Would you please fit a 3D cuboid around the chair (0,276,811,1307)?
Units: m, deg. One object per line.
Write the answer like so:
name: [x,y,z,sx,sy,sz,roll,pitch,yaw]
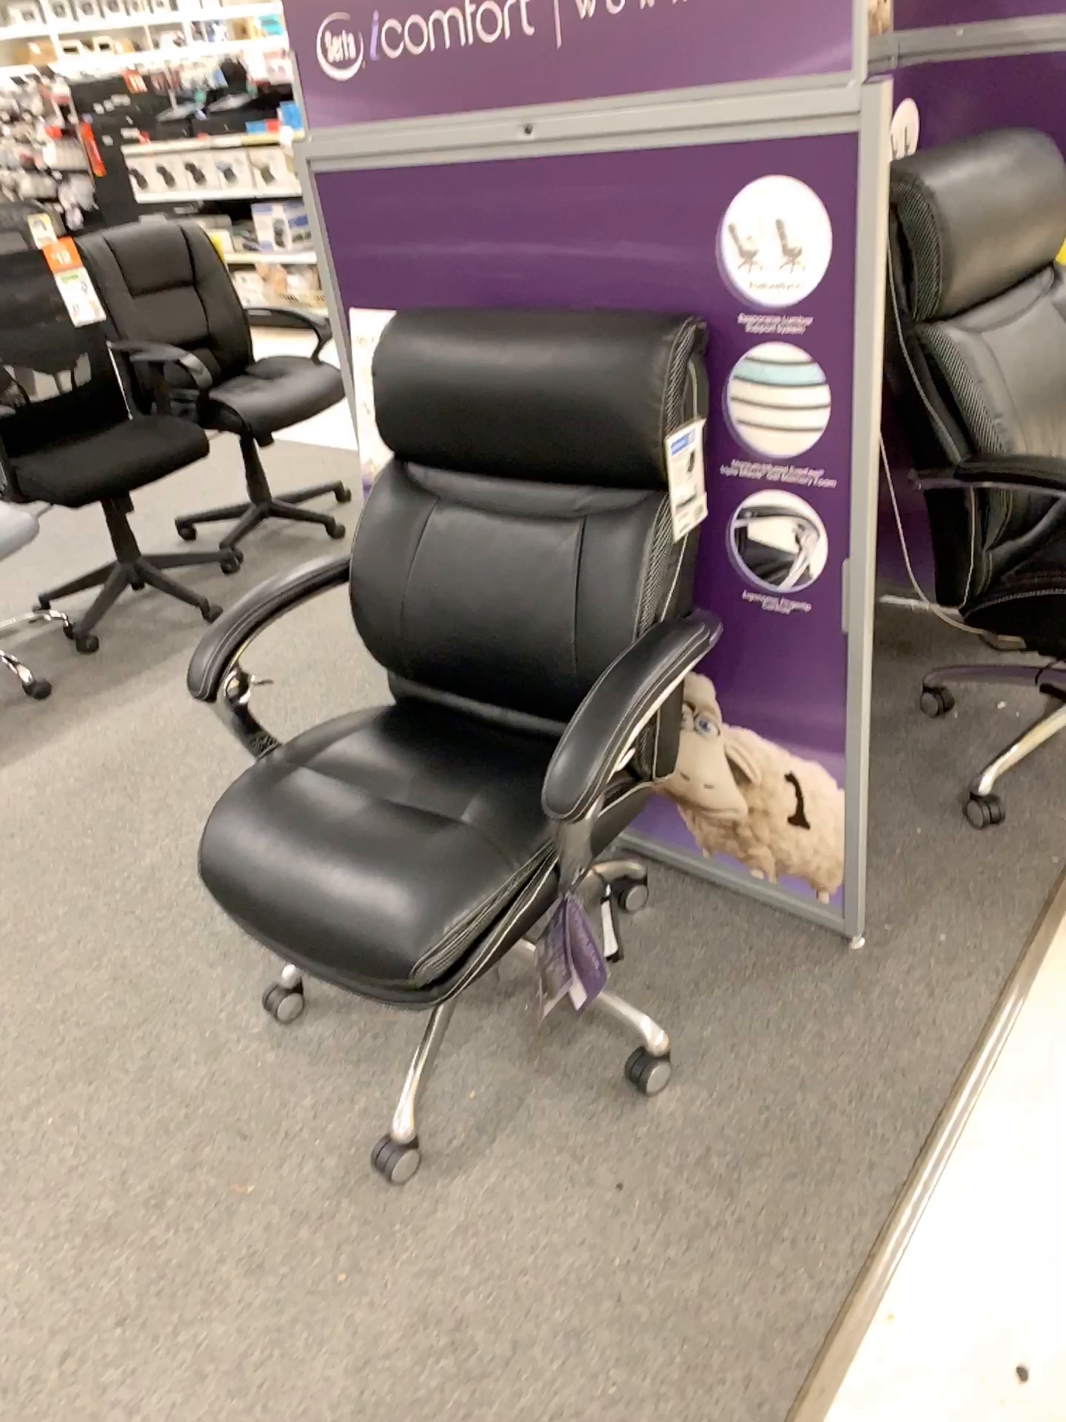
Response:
chair: [-0.157,0.008,1.443,0.773,0.955,0.721,18,39,36]
